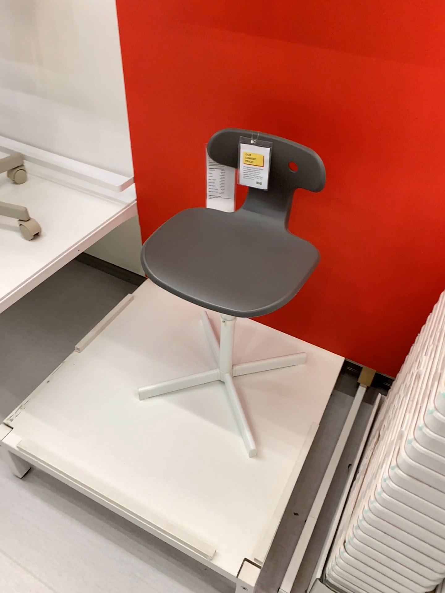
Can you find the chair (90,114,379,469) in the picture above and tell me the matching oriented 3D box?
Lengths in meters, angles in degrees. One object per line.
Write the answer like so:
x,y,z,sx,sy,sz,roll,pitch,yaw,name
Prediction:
0.038,-0.012,1.189,0.460,0.697,0.451,21,45,19,chair
